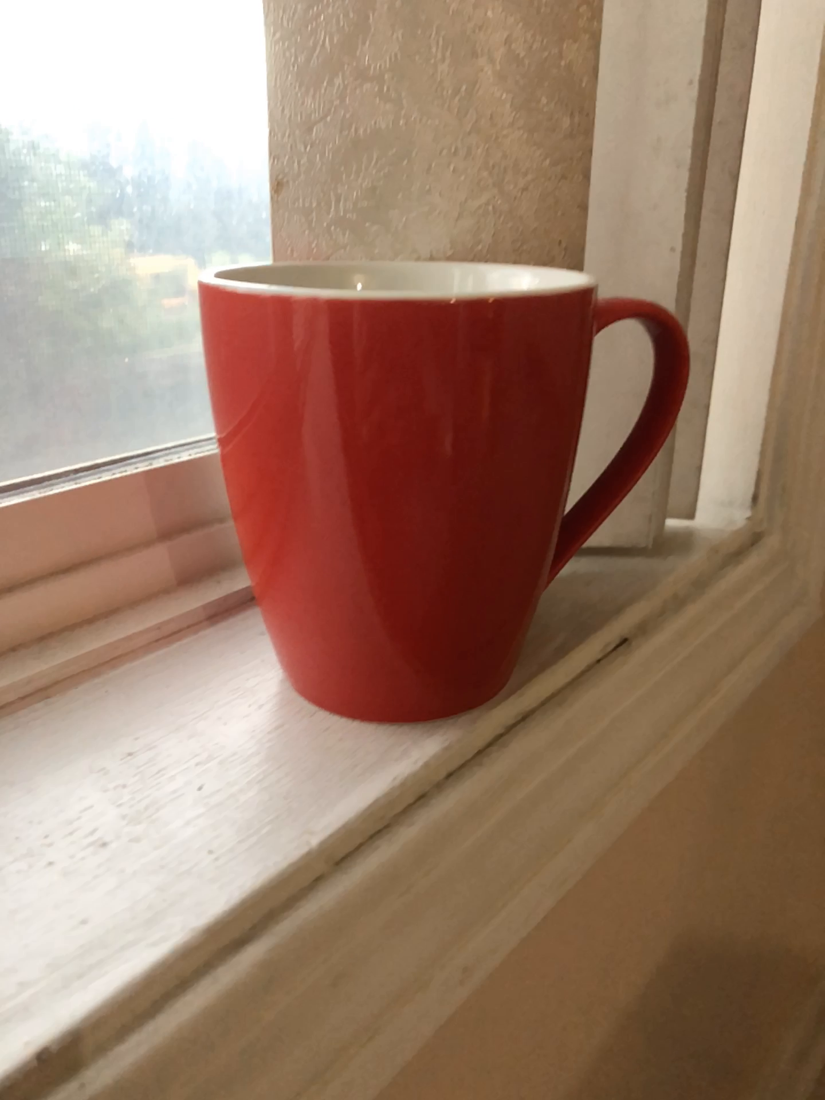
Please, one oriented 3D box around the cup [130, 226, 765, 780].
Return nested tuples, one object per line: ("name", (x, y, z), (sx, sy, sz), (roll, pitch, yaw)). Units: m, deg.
("cup", (0.009, -0.025, 0.211), (0.110, 0.090, 0.080), (-17, 27, -40))
